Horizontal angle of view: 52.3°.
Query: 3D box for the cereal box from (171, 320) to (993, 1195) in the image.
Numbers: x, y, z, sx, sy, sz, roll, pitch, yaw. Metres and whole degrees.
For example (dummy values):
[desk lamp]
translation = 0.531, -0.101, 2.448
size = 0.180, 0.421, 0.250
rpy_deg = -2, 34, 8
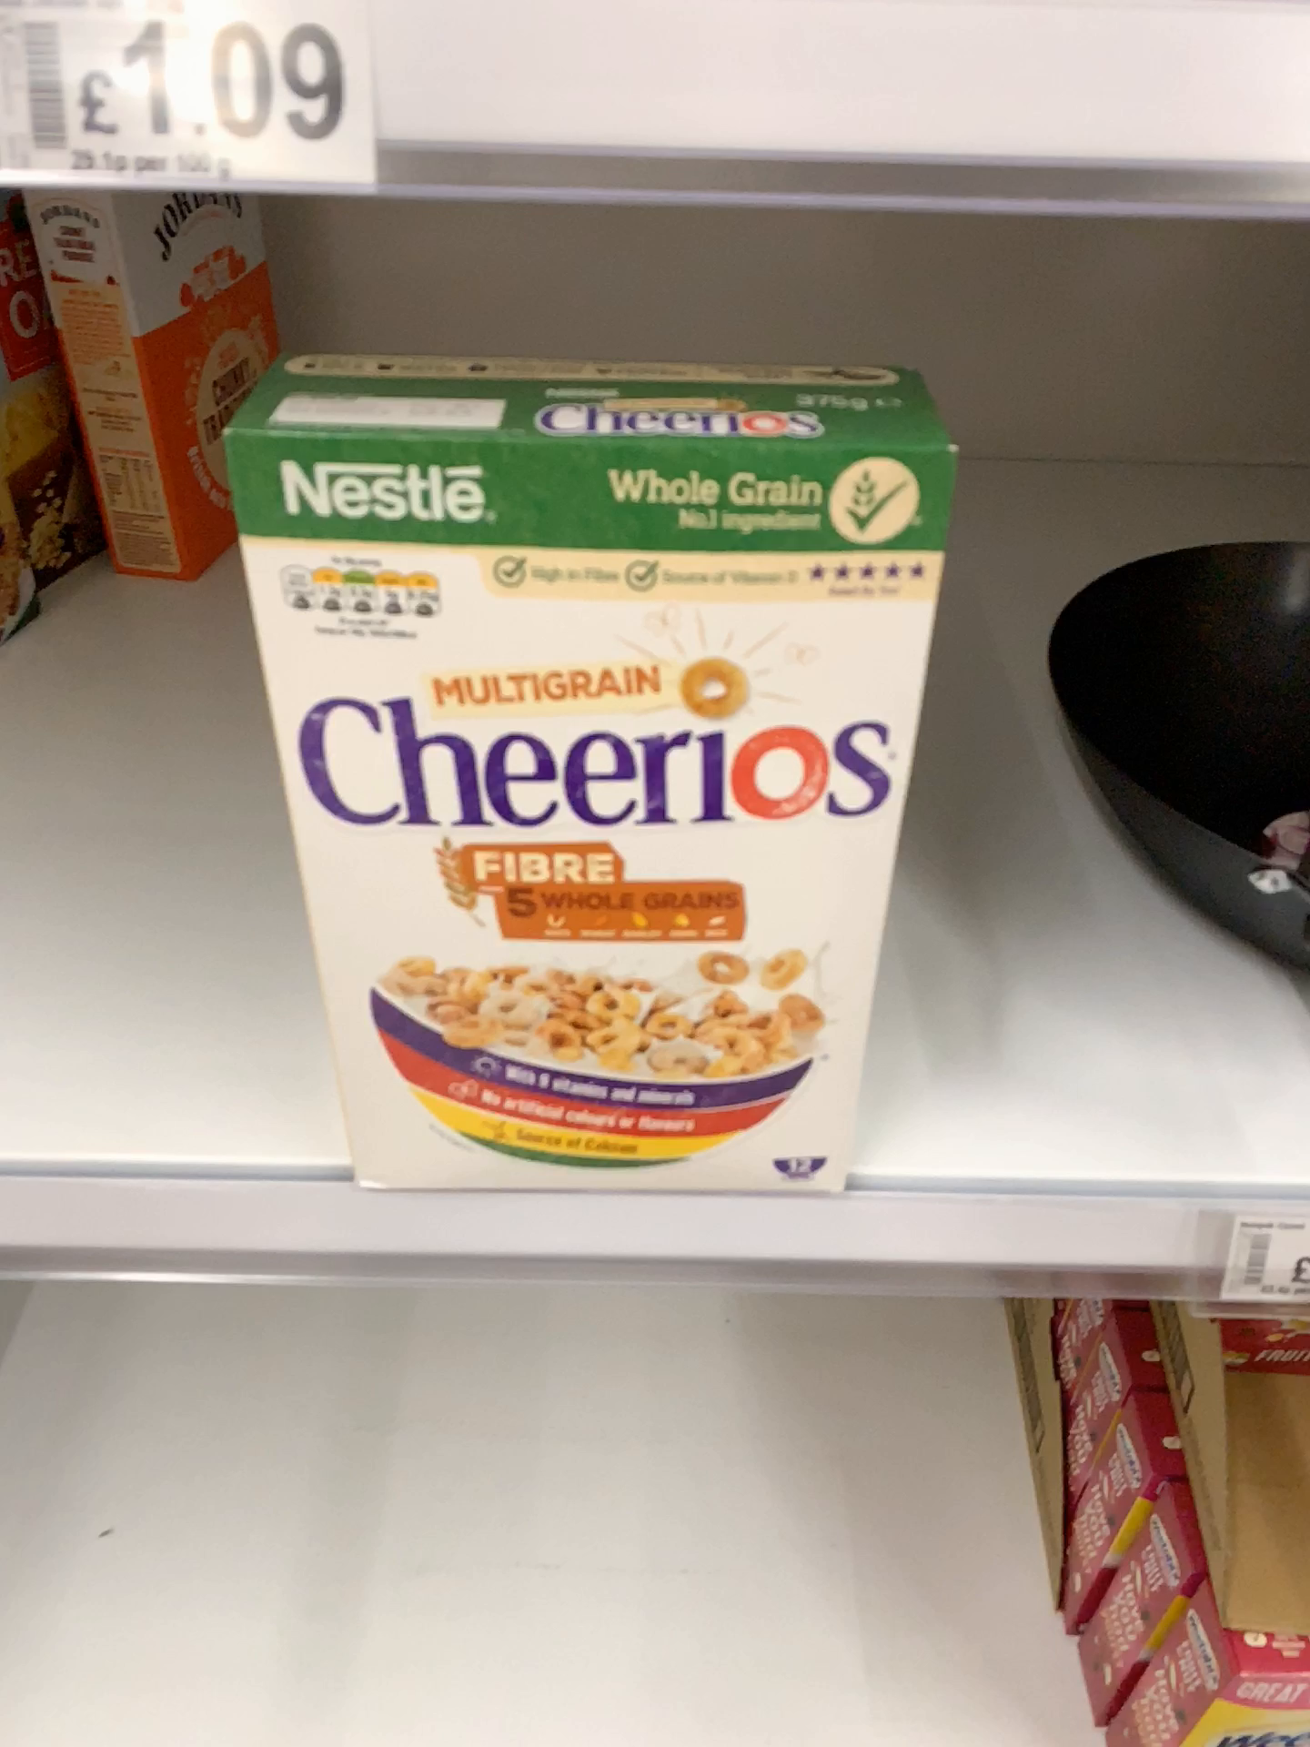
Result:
[cereal box]
translation = -0.021, -0.019, 0.437
size = 0.200, 0.287, 0.071
rpy_deg = 0, 36, -2
